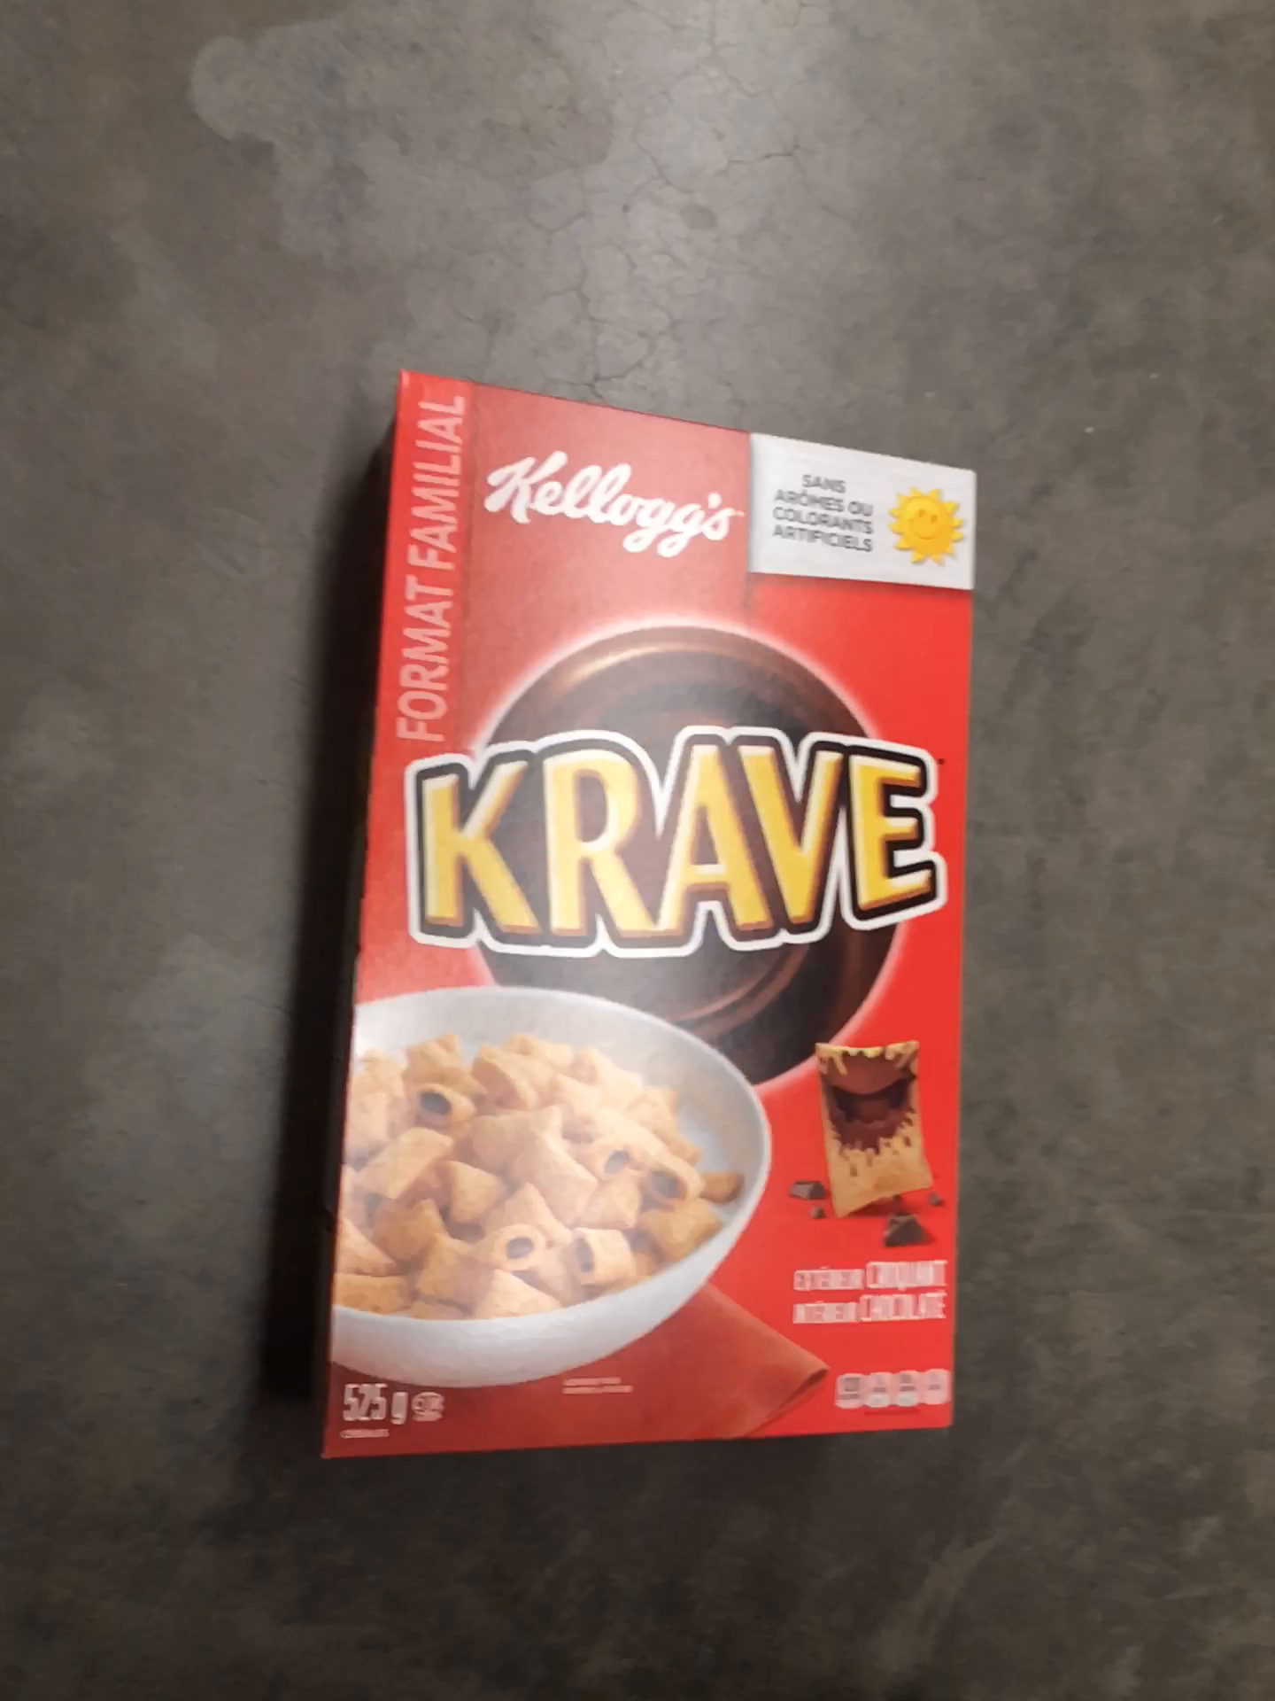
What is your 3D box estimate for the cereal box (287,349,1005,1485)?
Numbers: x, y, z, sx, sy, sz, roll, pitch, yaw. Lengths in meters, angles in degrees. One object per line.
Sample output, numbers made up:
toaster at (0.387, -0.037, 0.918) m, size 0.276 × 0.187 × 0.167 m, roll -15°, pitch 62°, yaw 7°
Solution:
cereal box at (0.005, 0.022, 0.446) m, size 0.200 × 0.070 × 0.310 m, roll 5°, pitch 84°, yaw -17°
